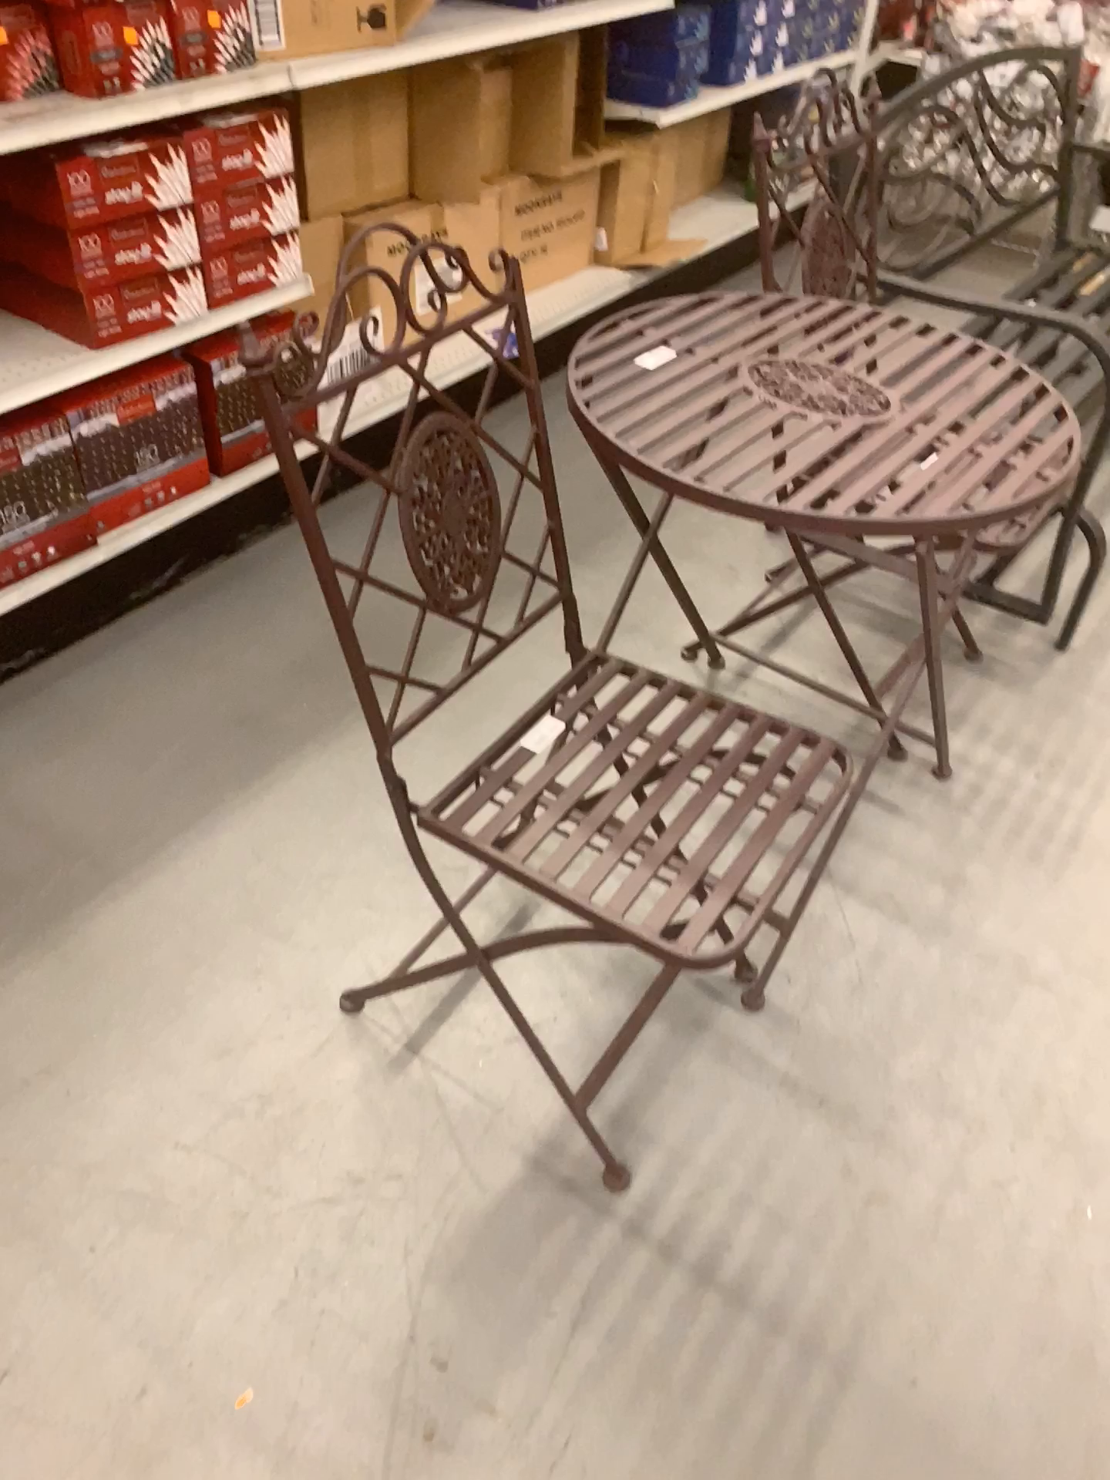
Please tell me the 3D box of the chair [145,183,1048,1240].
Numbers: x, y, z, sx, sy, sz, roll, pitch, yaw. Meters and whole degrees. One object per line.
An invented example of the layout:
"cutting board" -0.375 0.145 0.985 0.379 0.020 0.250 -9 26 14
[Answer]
"chair" 0.021 -0.012 1.146 0.564 0.839 0.423 25 45 22
